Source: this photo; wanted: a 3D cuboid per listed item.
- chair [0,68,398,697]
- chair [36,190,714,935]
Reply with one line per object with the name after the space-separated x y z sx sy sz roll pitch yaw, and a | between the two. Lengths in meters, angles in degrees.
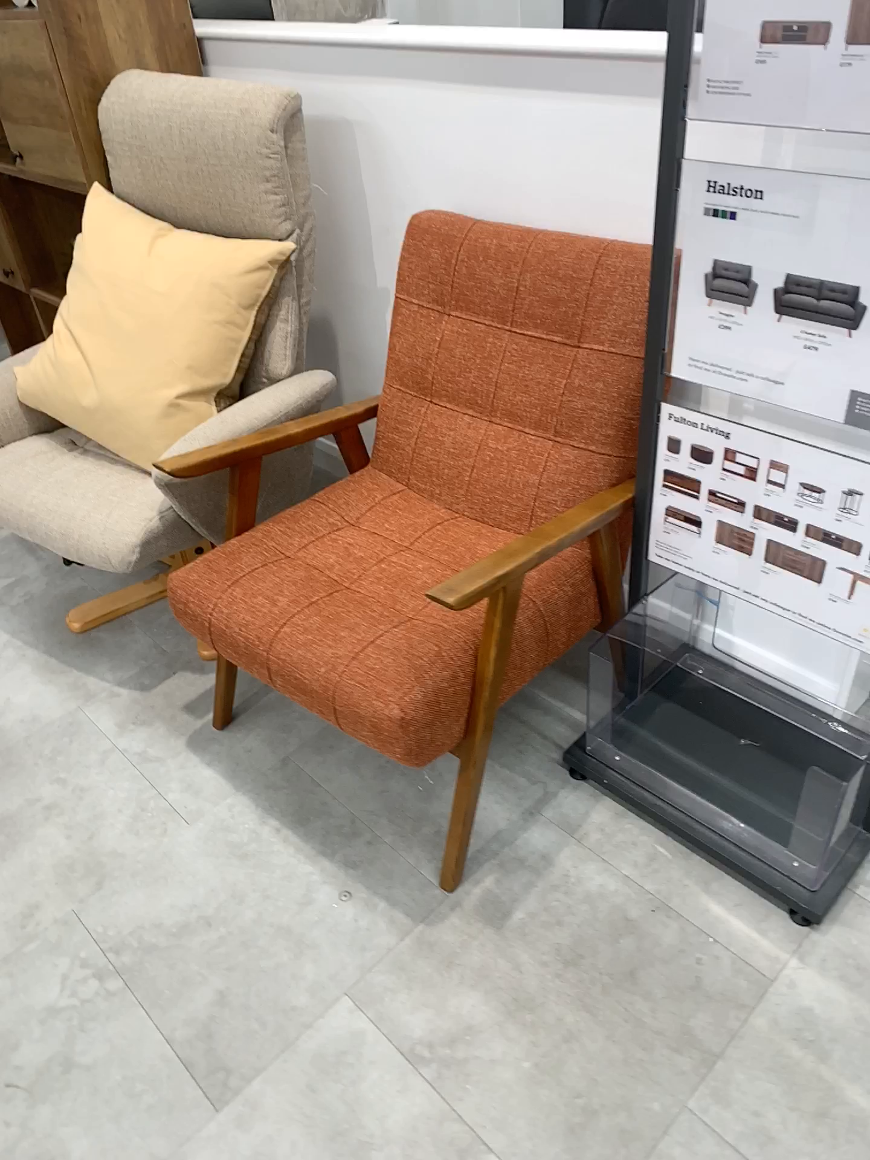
-0.607 -0.446 1.870 0.699 1.012 0.684 16 42 27 | chair
-0.047 -0.087 1.529 0.690 0.884 0.703 24 46 34 | chair
